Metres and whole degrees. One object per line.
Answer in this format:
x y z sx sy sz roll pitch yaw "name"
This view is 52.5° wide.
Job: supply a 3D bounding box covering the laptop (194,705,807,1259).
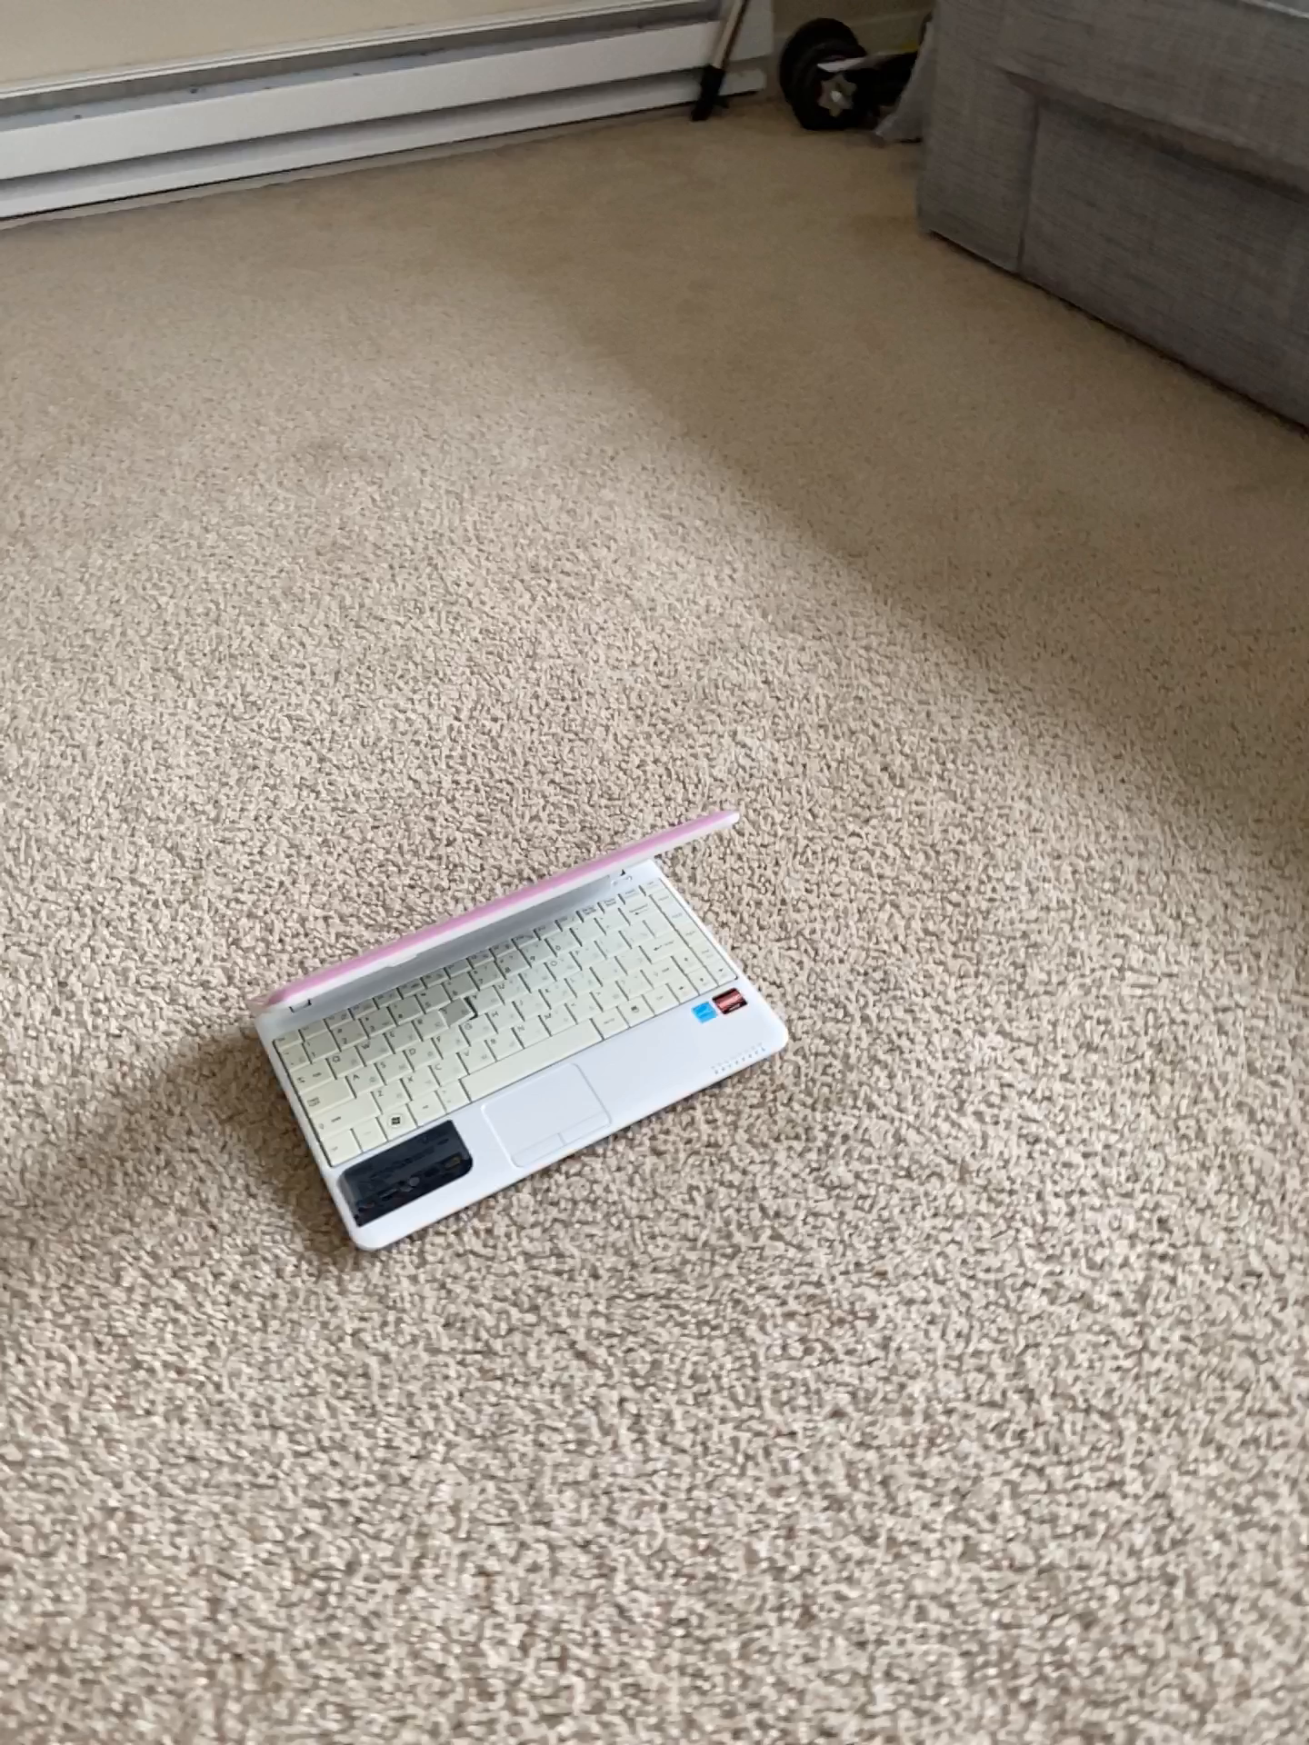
-0.089 0.053 0.808 0.297 0.122 0.198 -23 50 -19 "laptop"
